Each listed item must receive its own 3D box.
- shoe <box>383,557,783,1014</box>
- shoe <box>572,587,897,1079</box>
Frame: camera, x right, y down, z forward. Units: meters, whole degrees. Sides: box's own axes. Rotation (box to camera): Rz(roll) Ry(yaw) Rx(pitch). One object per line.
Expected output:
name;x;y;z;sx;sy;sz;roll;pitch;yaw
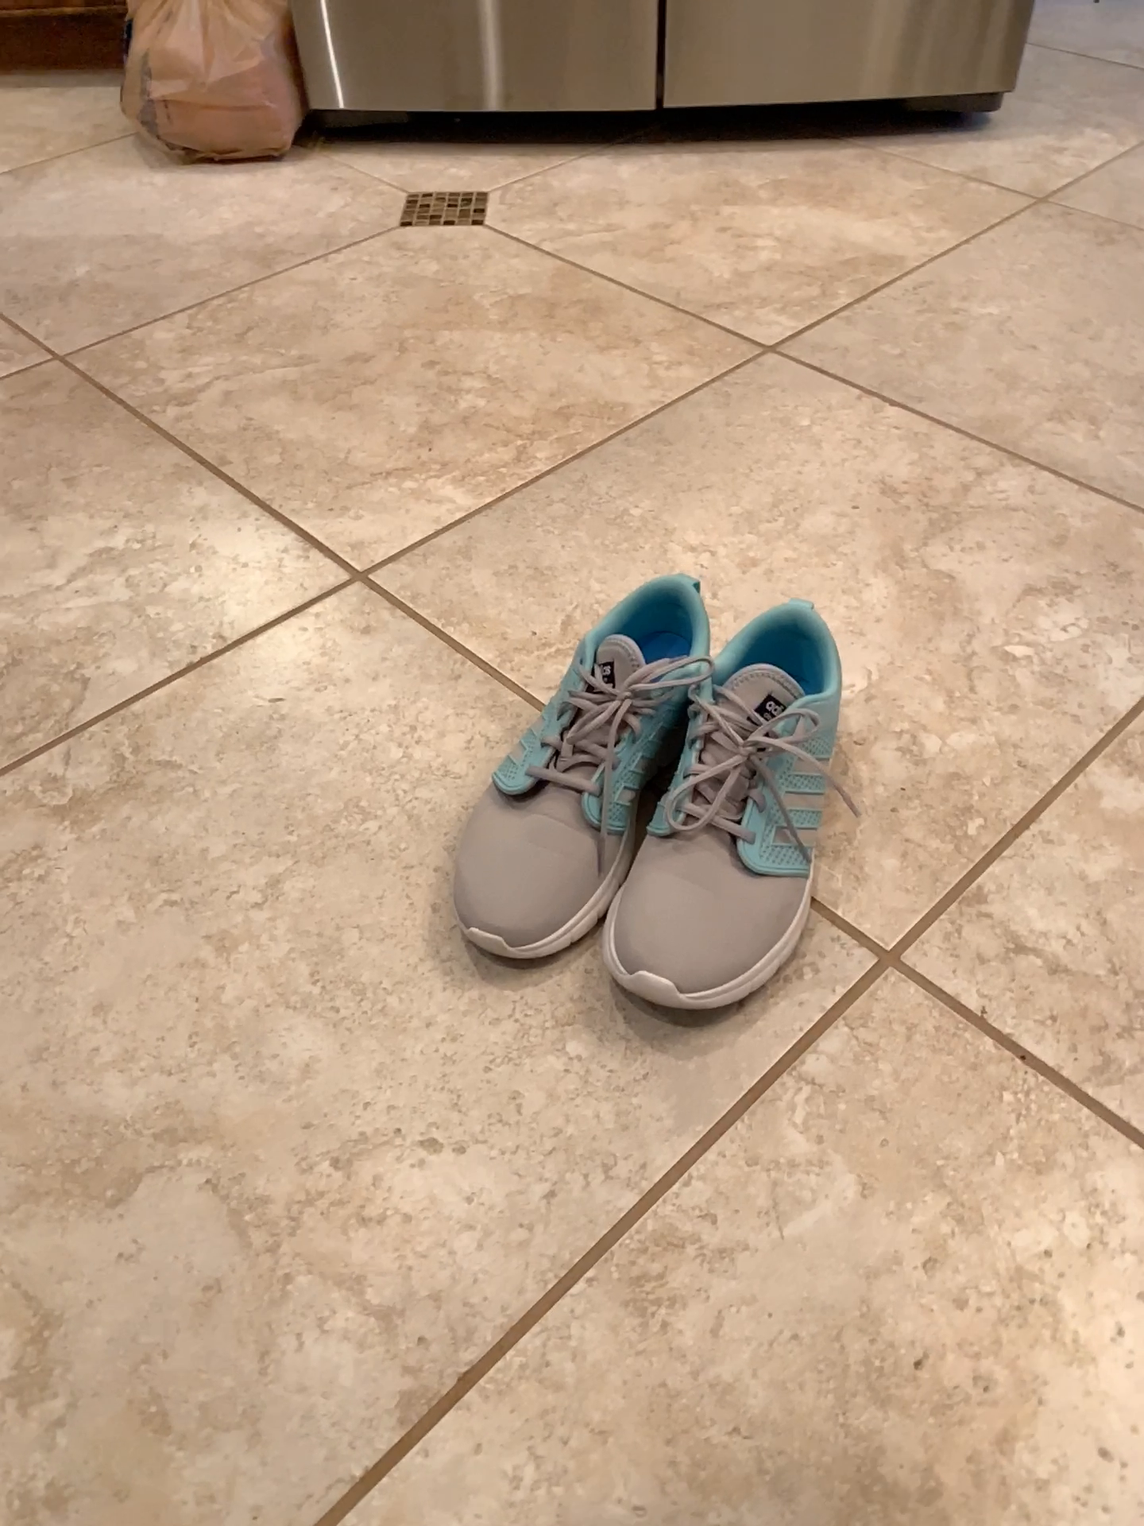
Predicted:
shoe;0.017;0.003;0.728;0.106;0.108;0.271;24;52;23
shoe;0.103;0.029;0.696;0.106;0.108;0.272;16;49;16
